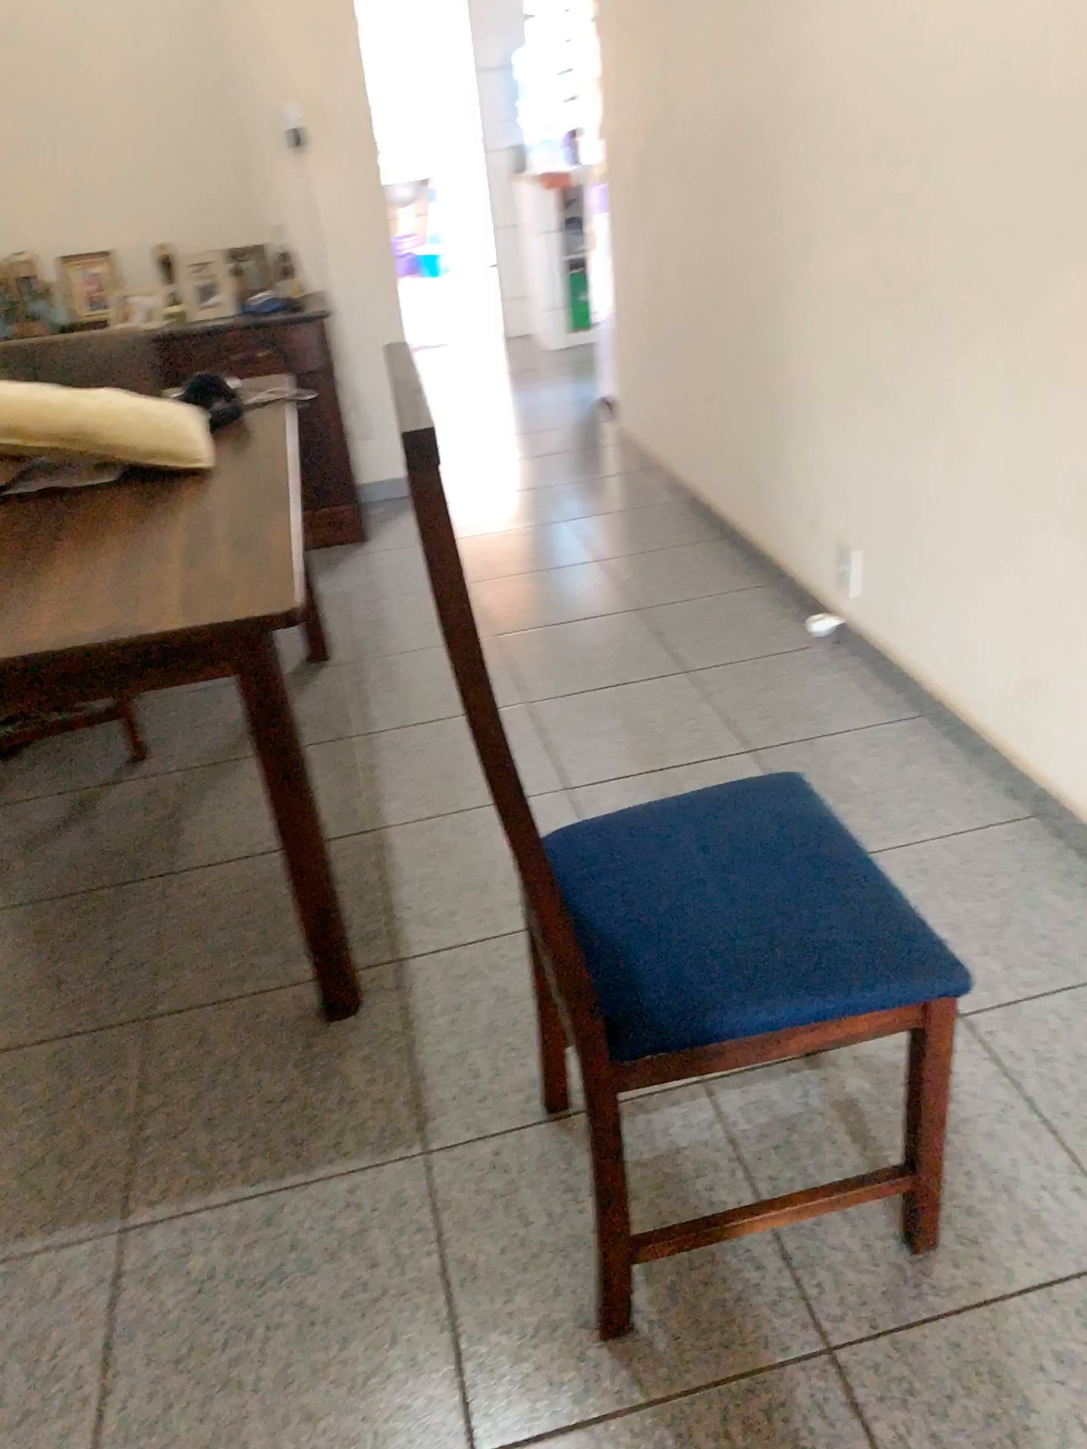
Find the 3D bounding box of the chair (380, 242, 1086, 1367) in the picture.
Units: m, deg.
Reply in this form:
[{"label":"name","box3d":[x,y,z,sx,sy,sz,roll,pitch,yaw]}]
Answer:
[{"label":"chair","box3d":[0.187,0.096,1.280,0.520,1.124,0.473,-11,27,-8]}]
